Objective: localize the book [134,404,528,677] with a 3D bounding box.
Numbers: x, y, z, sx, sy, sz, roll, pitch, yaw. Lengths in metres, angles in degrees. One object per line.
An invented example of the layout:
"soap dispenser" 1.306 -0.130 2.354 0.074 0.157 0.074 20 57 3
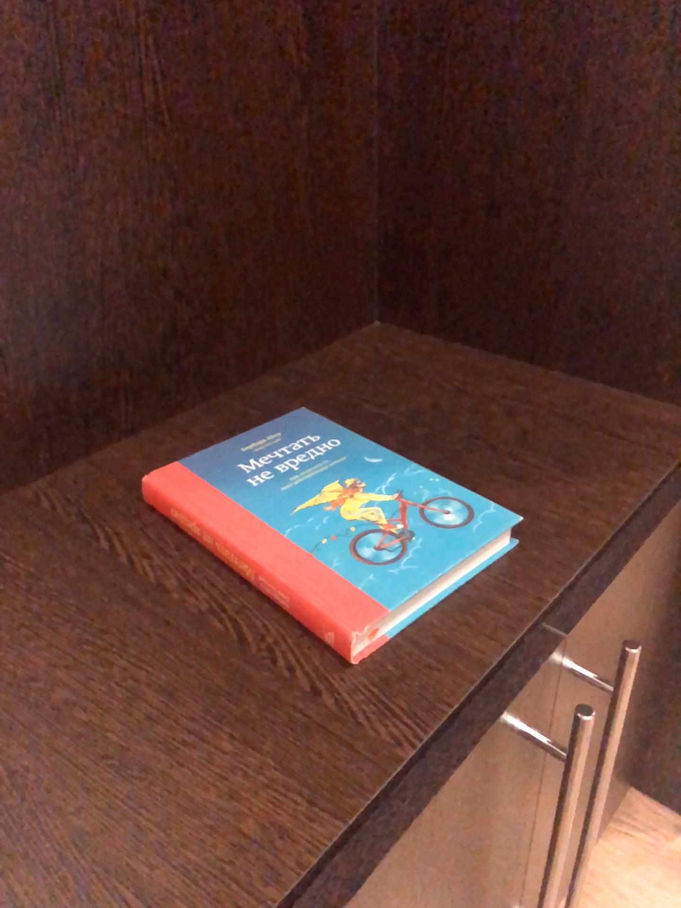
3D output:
"book" -0.012 0.037 0.486 0.146 0.025 0.211 -27 40 -36
